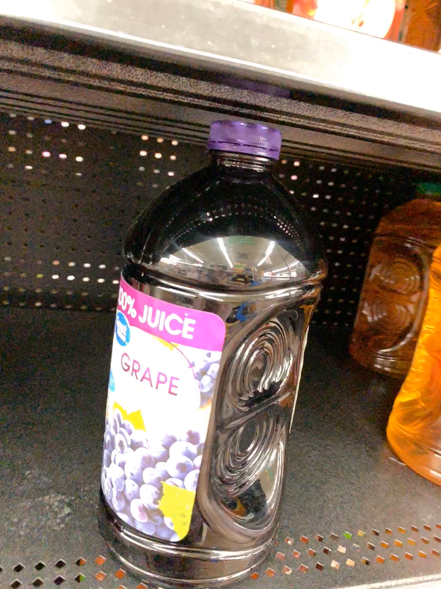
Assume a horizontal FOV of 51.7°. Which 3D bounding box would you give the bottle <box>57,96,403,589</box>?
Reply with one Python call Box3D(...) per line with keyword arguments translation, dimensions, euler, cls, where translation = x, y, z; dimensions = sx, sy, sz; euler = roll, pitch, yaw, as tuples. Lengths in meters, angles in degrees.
Box3D(translation=(-0.006, 0.032, 0.305), dimensions=(0.140, 0.279, 0.130), euler=(8, 16, -2), cls="bottle")
